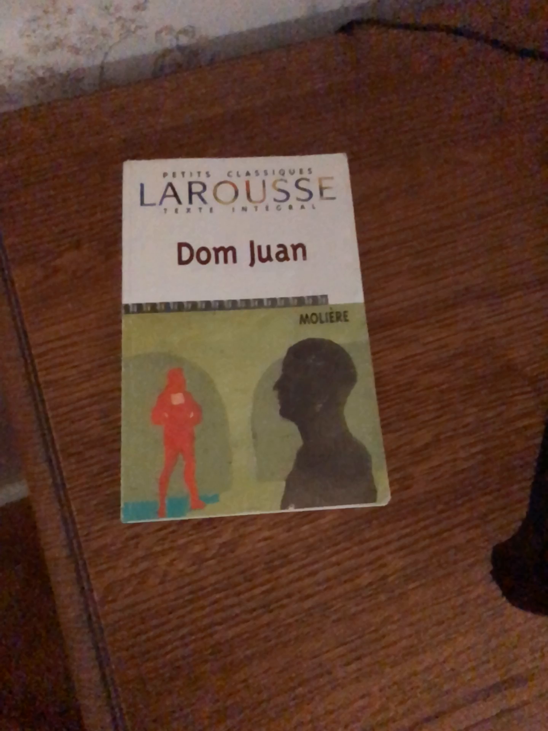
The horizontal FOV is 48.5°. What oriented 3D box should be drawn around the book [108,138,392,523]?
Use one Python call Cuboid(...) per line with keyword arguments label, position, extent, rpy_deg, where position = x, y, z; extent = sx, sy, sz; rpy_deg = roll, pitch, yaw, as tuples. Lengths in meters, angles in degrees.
Cuboid(label="book", position=(-0.014, -0.025, 0.278), extent=(0.115, 0.010, 0.180), rpy_deg=(-2, 72, -4))
